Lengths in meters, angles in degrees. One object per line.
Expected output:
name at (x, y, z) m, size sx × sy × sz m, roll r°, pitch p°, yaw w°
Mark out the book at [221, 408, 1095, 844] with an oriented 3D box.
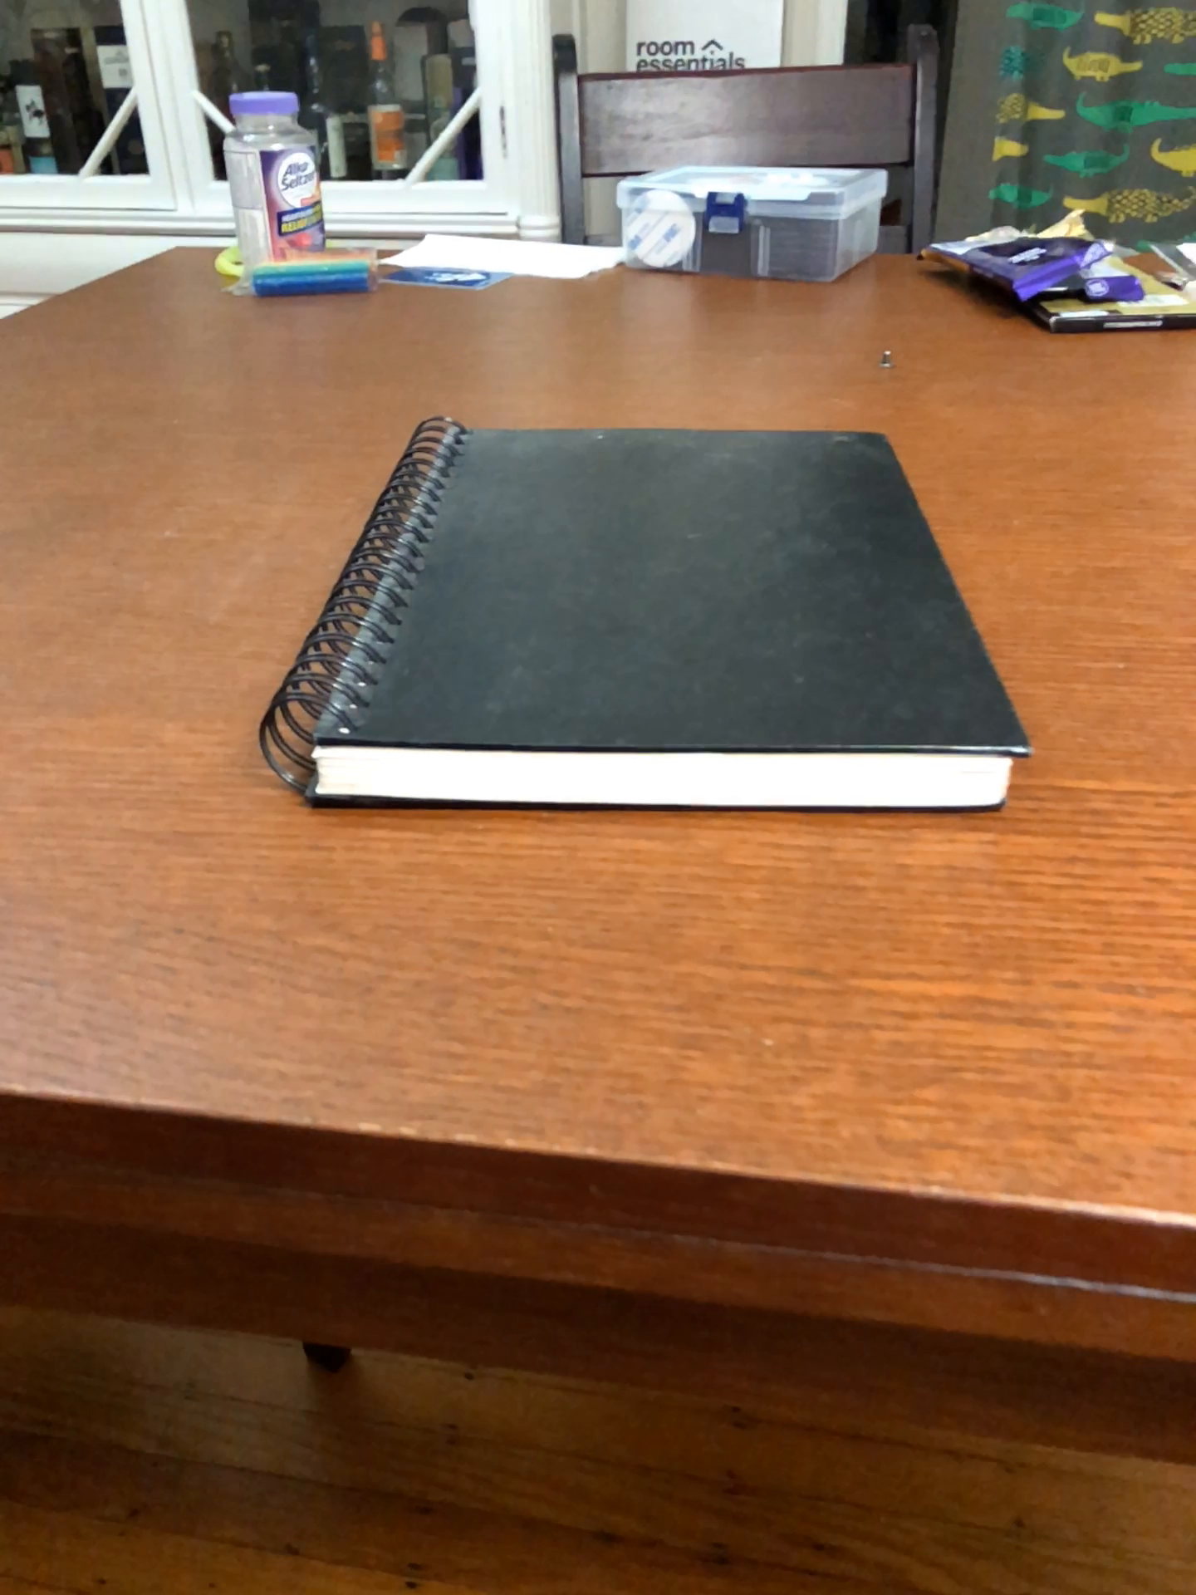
book at (0.017, -0.071, 0.420) m, size 0.200 × 0.030 × 0.262 m, roll 0°, pitch 32°, yaw 2°
